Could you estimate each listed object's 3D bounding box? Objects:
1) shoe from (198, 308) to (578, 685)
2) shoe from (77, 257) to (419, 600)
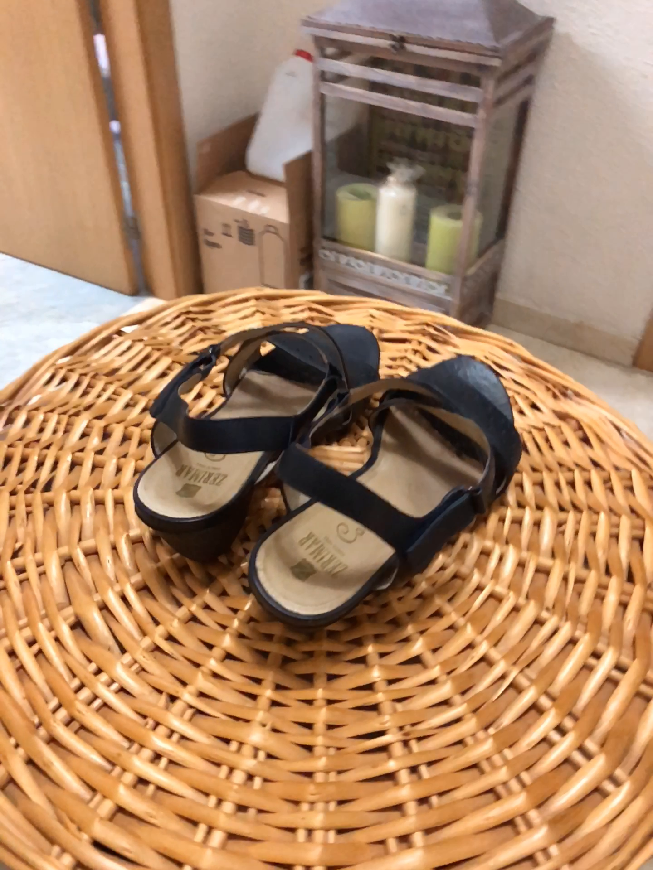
[{"bbox_3d":[0.052,0.013,0.428,0.100,0.092,0.248,32,34,18],"label":"shoe"},{"bbox_3d":[-0.031,-0.025,0.456,0.090,0.088,0.248,18,35,18],"label":"shoe"}]
